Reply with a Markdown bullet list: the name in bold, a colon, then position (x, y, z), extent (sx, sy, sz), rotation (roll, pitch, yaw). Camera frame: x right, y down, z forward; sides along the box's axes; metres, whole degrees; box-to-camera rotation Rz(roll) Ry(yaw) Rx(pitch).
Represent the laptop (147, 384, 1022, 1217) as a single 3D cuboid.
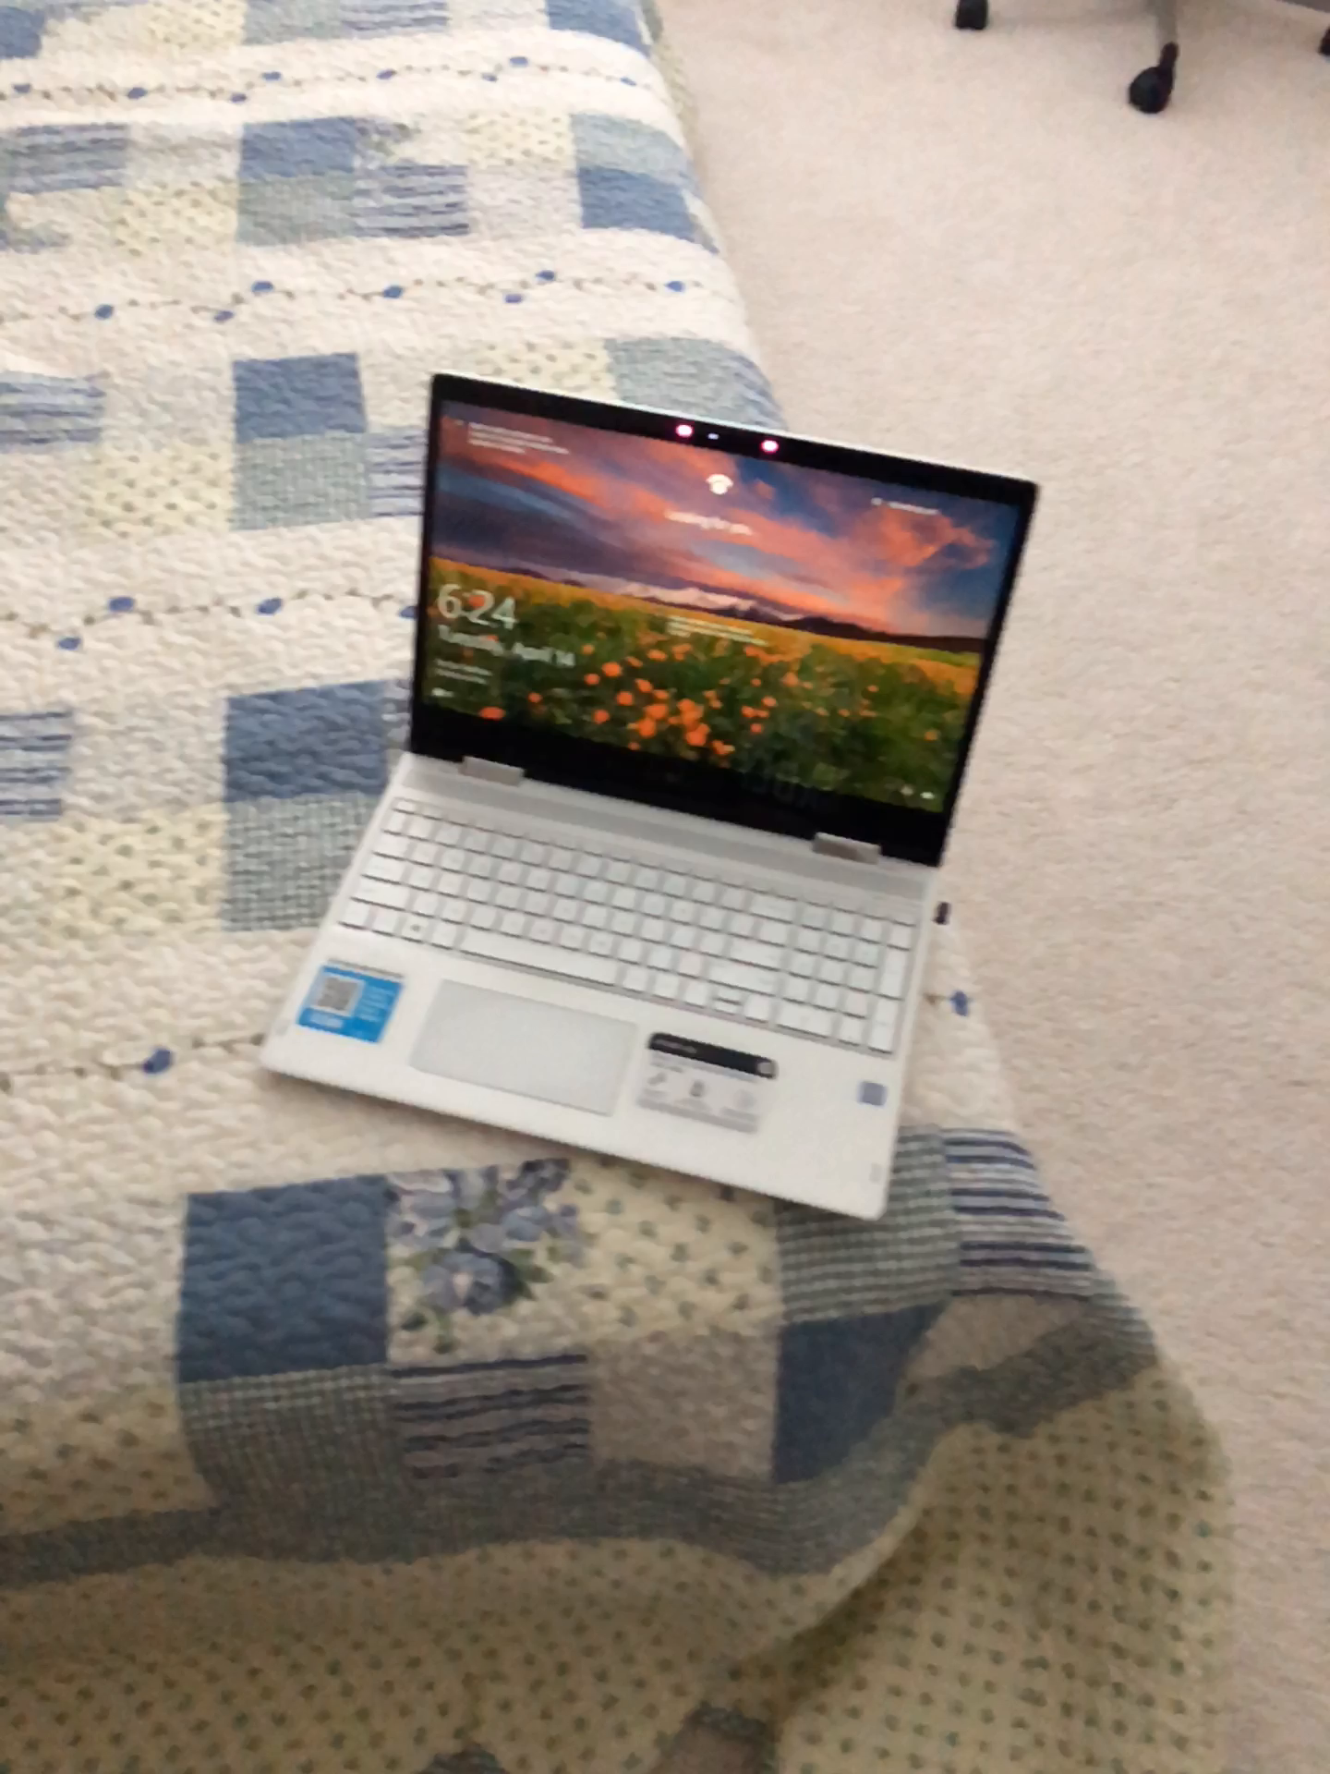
- **laptop**: position (-0.016, -0.059, 0.818), extent (0.355, 0.208, 0.358), rotation (12, 55, 7)
